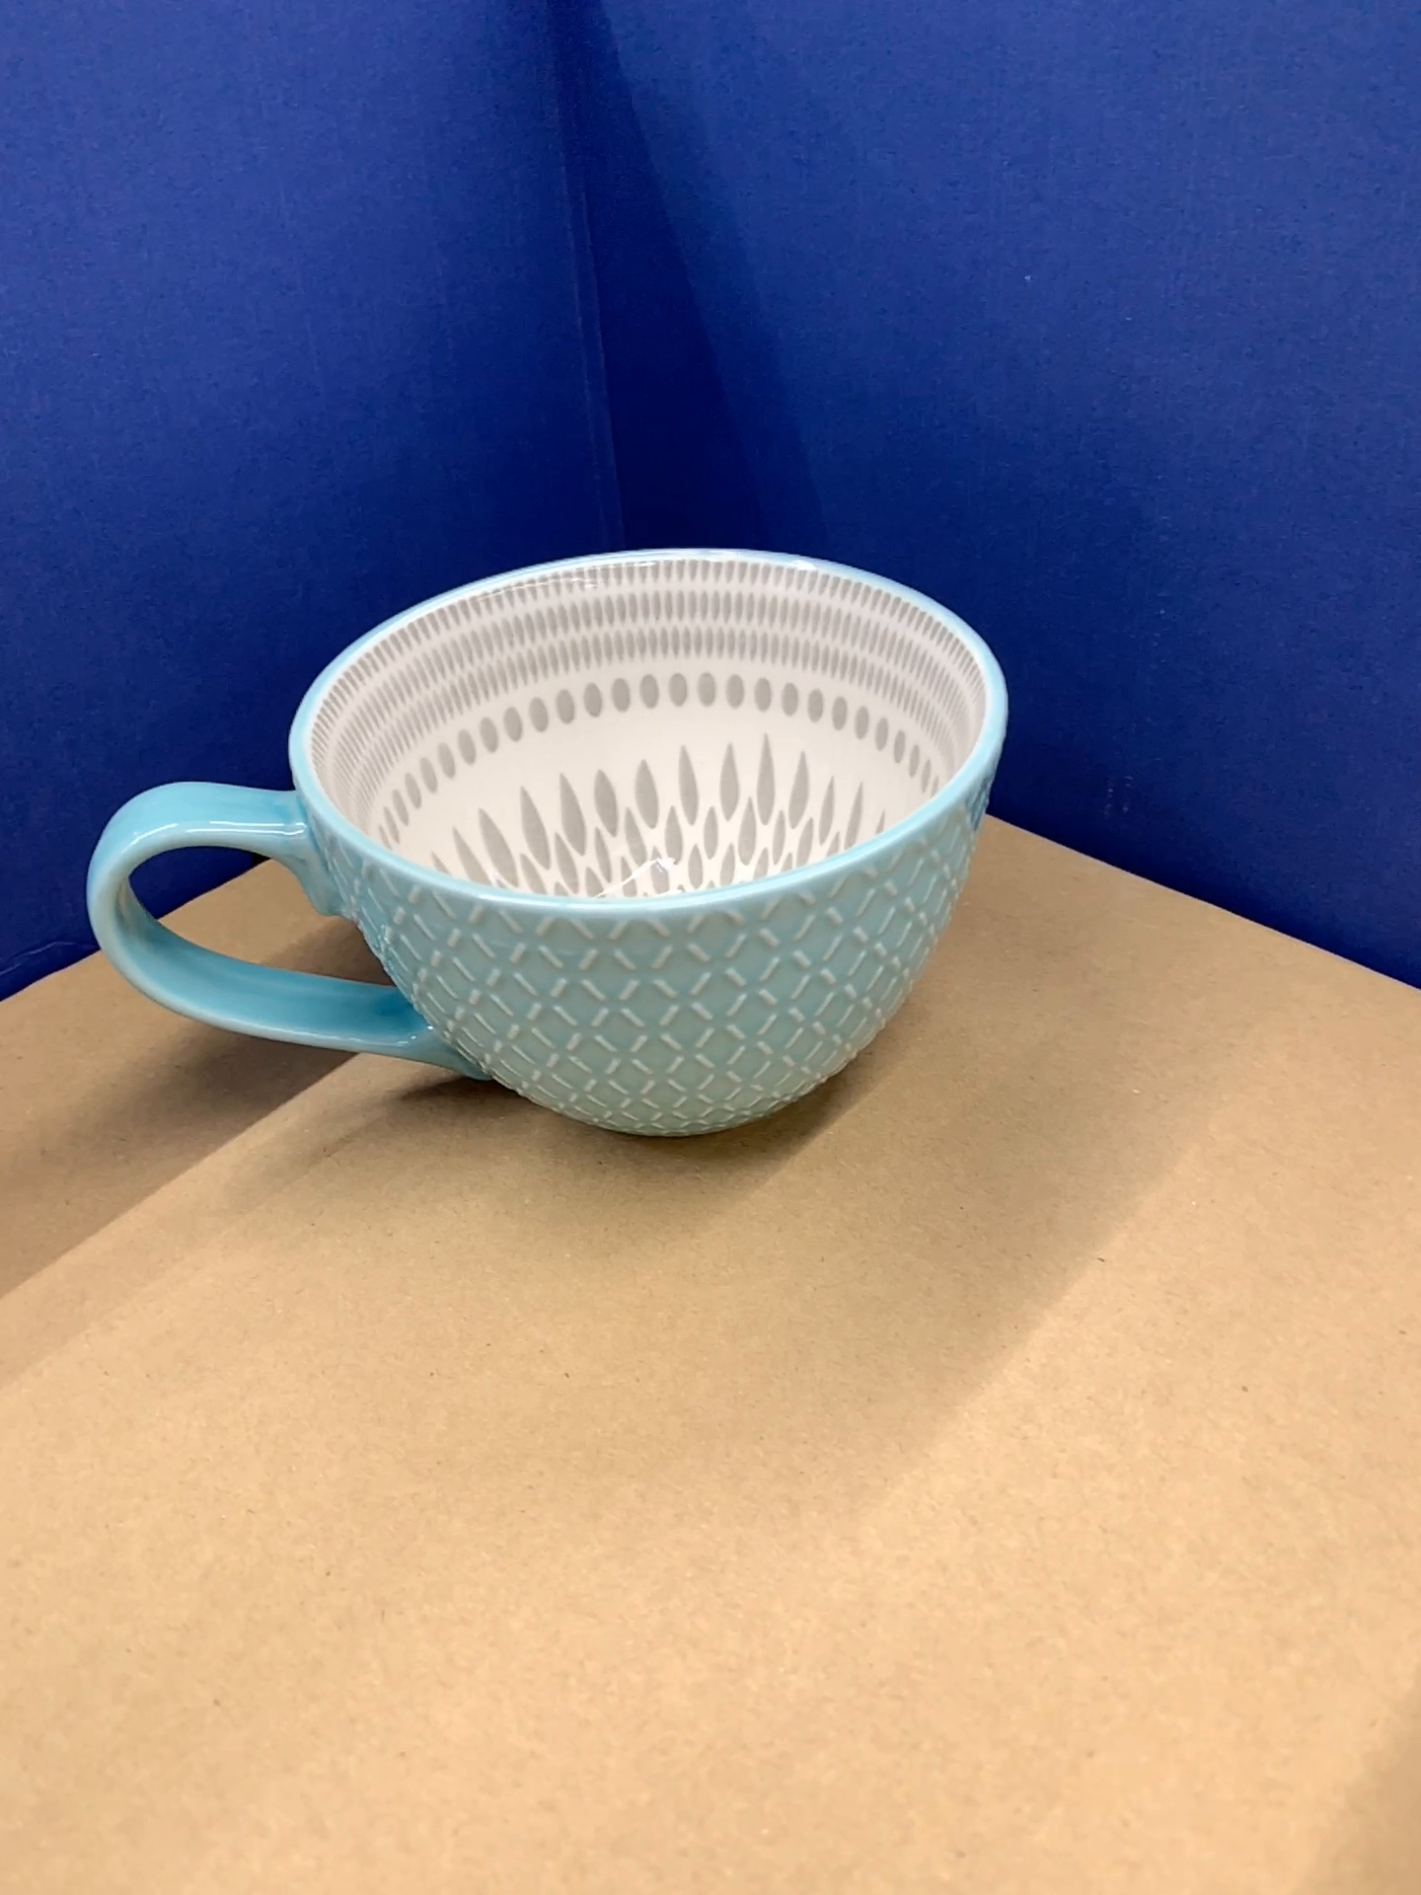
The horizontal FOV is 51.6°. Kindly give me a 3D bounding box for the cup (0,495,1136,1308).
[{"bbox_3d":[-0.027,-0.017,0.250,0.152,0.059,0.113,-9,41,-6],"label":"cup"}]
